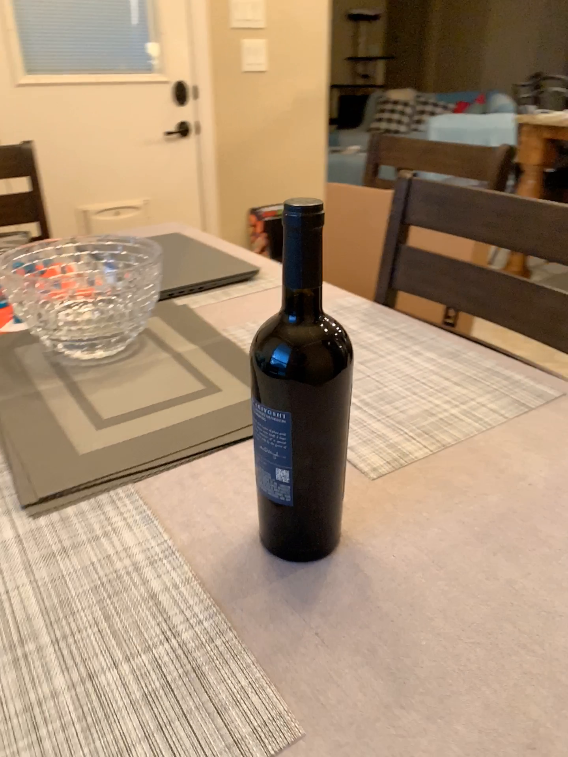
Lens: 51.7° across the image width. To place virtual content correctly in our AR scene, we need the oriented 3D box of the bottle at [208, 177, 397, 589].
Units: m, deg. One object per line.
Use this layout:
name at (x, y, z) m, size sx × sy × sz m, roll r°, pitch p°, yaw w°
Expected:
bottle at (0.012, 0.008, 0.461) m, size 0.090 × 0.298 × 0.090 m, roll 0°, pitch 27°, yaw 0°
